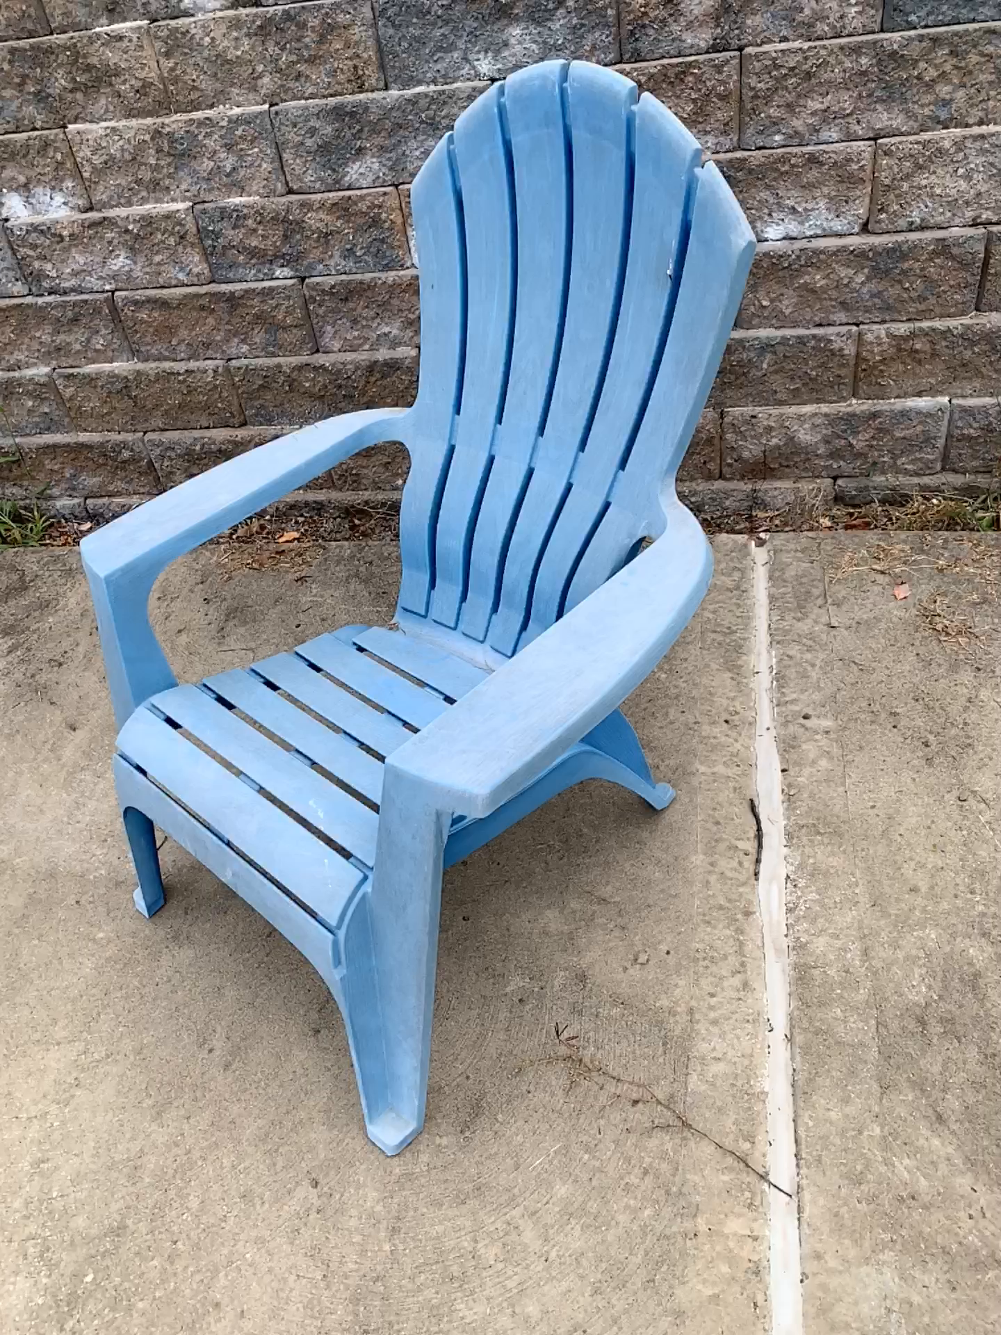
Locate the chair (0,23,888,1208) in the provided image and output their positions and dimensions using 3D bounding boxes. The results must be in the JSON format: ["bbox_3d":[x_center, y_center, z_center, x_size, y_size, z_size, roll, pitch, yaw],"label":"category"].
[{"bbox_3d":[-0.132,-0.109,1.157,0.703,0.885,0.761,29,55,35],"label":"chair"}]
